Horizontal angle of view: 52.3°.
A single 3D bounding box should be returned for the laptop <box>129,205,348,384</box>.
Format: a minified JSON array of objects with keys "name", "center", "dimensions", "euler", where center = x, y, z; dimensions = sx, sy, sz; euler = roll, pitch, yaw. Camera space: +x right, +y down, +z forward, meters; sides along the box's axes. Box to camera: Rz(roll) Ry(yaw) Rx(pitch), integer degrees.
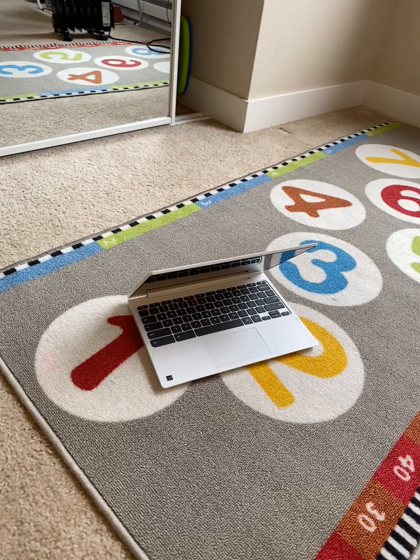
[{"name":"laptop","center":[0.031,0.008,0.741],"dimensions":[0.294,0.164,0.217],"euler":[-10,41,-23]}]
